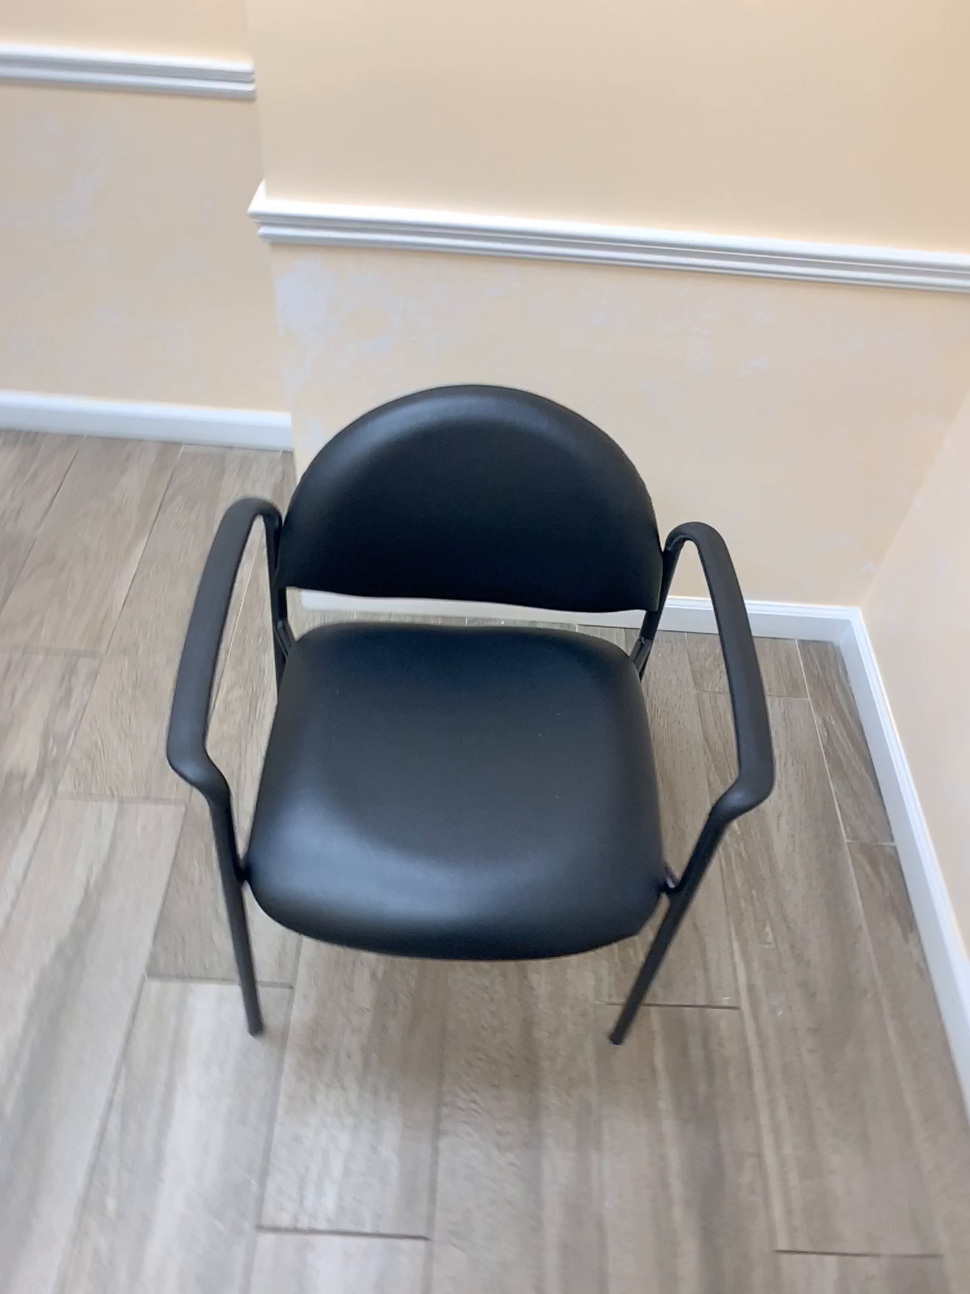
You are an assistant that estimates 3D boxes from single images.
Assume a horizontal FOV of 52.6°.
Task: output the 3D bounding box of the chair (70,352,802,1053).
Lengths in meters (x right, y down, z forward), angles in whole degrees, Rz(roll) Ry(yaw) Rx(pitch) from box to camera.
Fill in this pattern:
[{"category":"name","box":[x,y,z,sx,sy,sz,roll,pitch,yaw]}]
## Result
[{"category":"chair","box":[-0.058,0.113,1.223,0.582,0.727,0.512,3,49,-3]}]
